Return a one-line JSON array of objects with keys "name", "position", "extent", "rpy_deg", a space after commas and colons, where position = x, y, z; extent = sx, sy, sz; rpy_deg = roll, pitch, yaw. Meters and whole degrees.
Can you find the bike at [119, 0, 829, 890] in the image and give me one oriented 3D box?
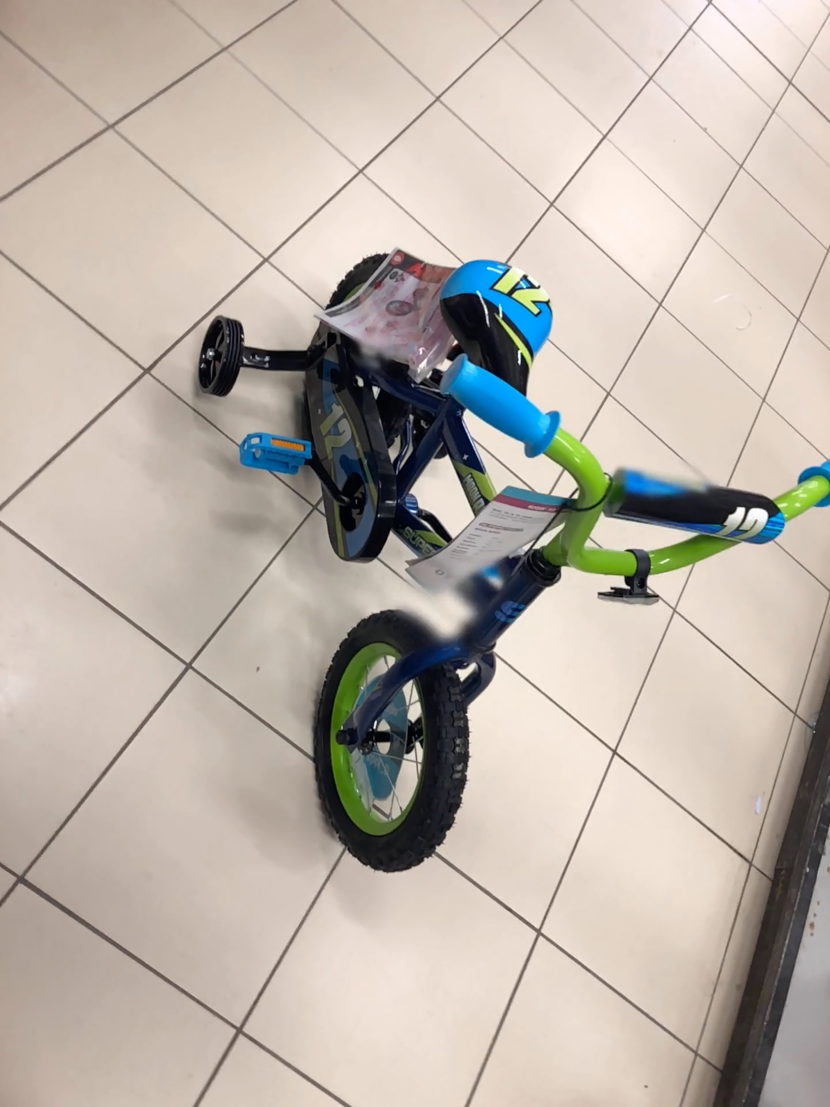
[{"name": "bike", "position": [0.044, -0.093, 0.998], "extent": [0.549, 0.676, 0.795], "rpy_deg": [6, 67, -26]}]
